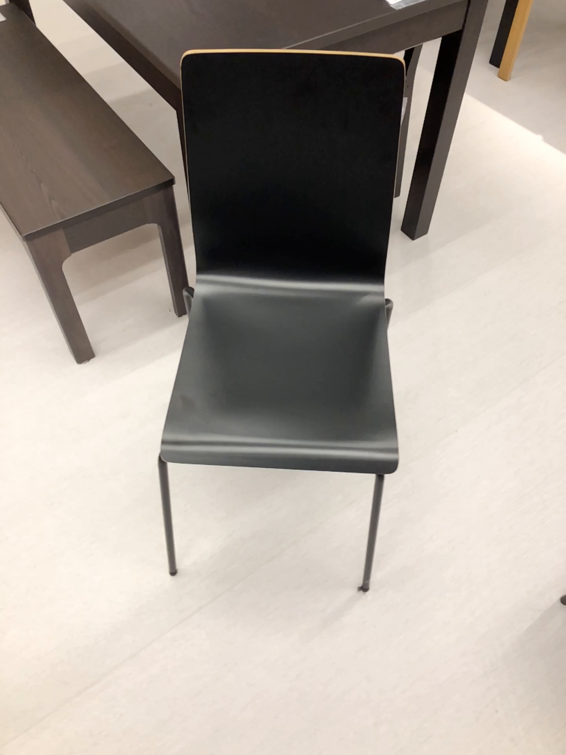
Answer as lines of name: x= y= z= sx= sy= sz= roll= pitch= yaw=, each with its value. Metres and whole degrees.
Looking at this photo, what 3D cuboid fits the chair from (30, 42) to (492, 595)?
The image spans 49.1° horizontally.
chair: x=-0.005 y=-0.033 z=1.083 sx=0.450 sy=0.805 sz=0.533 roll=4 pitch=54 yaw=3
